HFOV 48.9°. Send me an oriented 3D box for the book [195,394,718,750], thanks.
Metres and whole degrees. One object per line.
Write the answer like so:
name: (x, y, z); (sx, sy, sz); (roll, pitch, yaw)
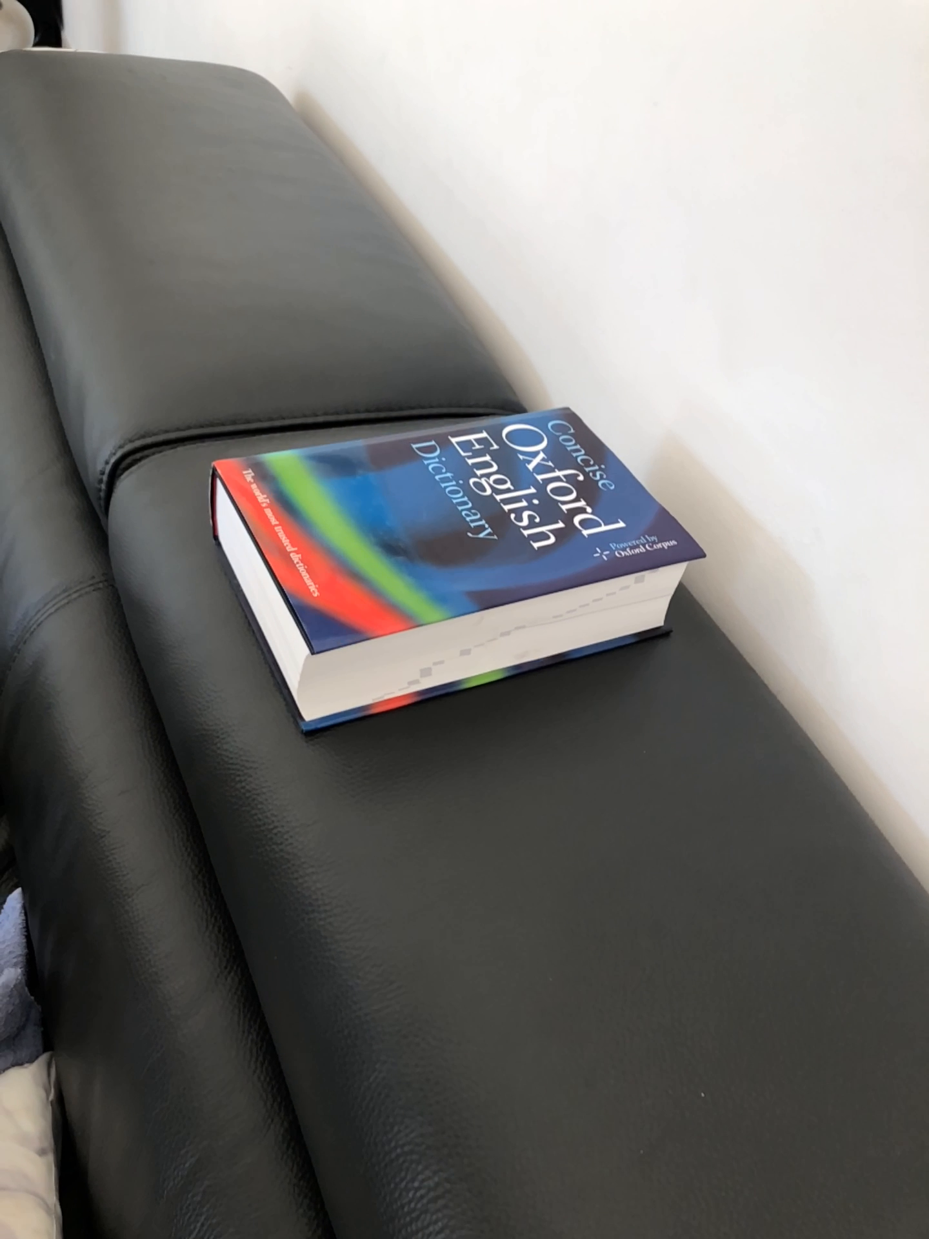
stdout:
book: (-0.009, -0.042, 0.603); (0.251, 0.070, 0.170); (-14, 49, -26)
